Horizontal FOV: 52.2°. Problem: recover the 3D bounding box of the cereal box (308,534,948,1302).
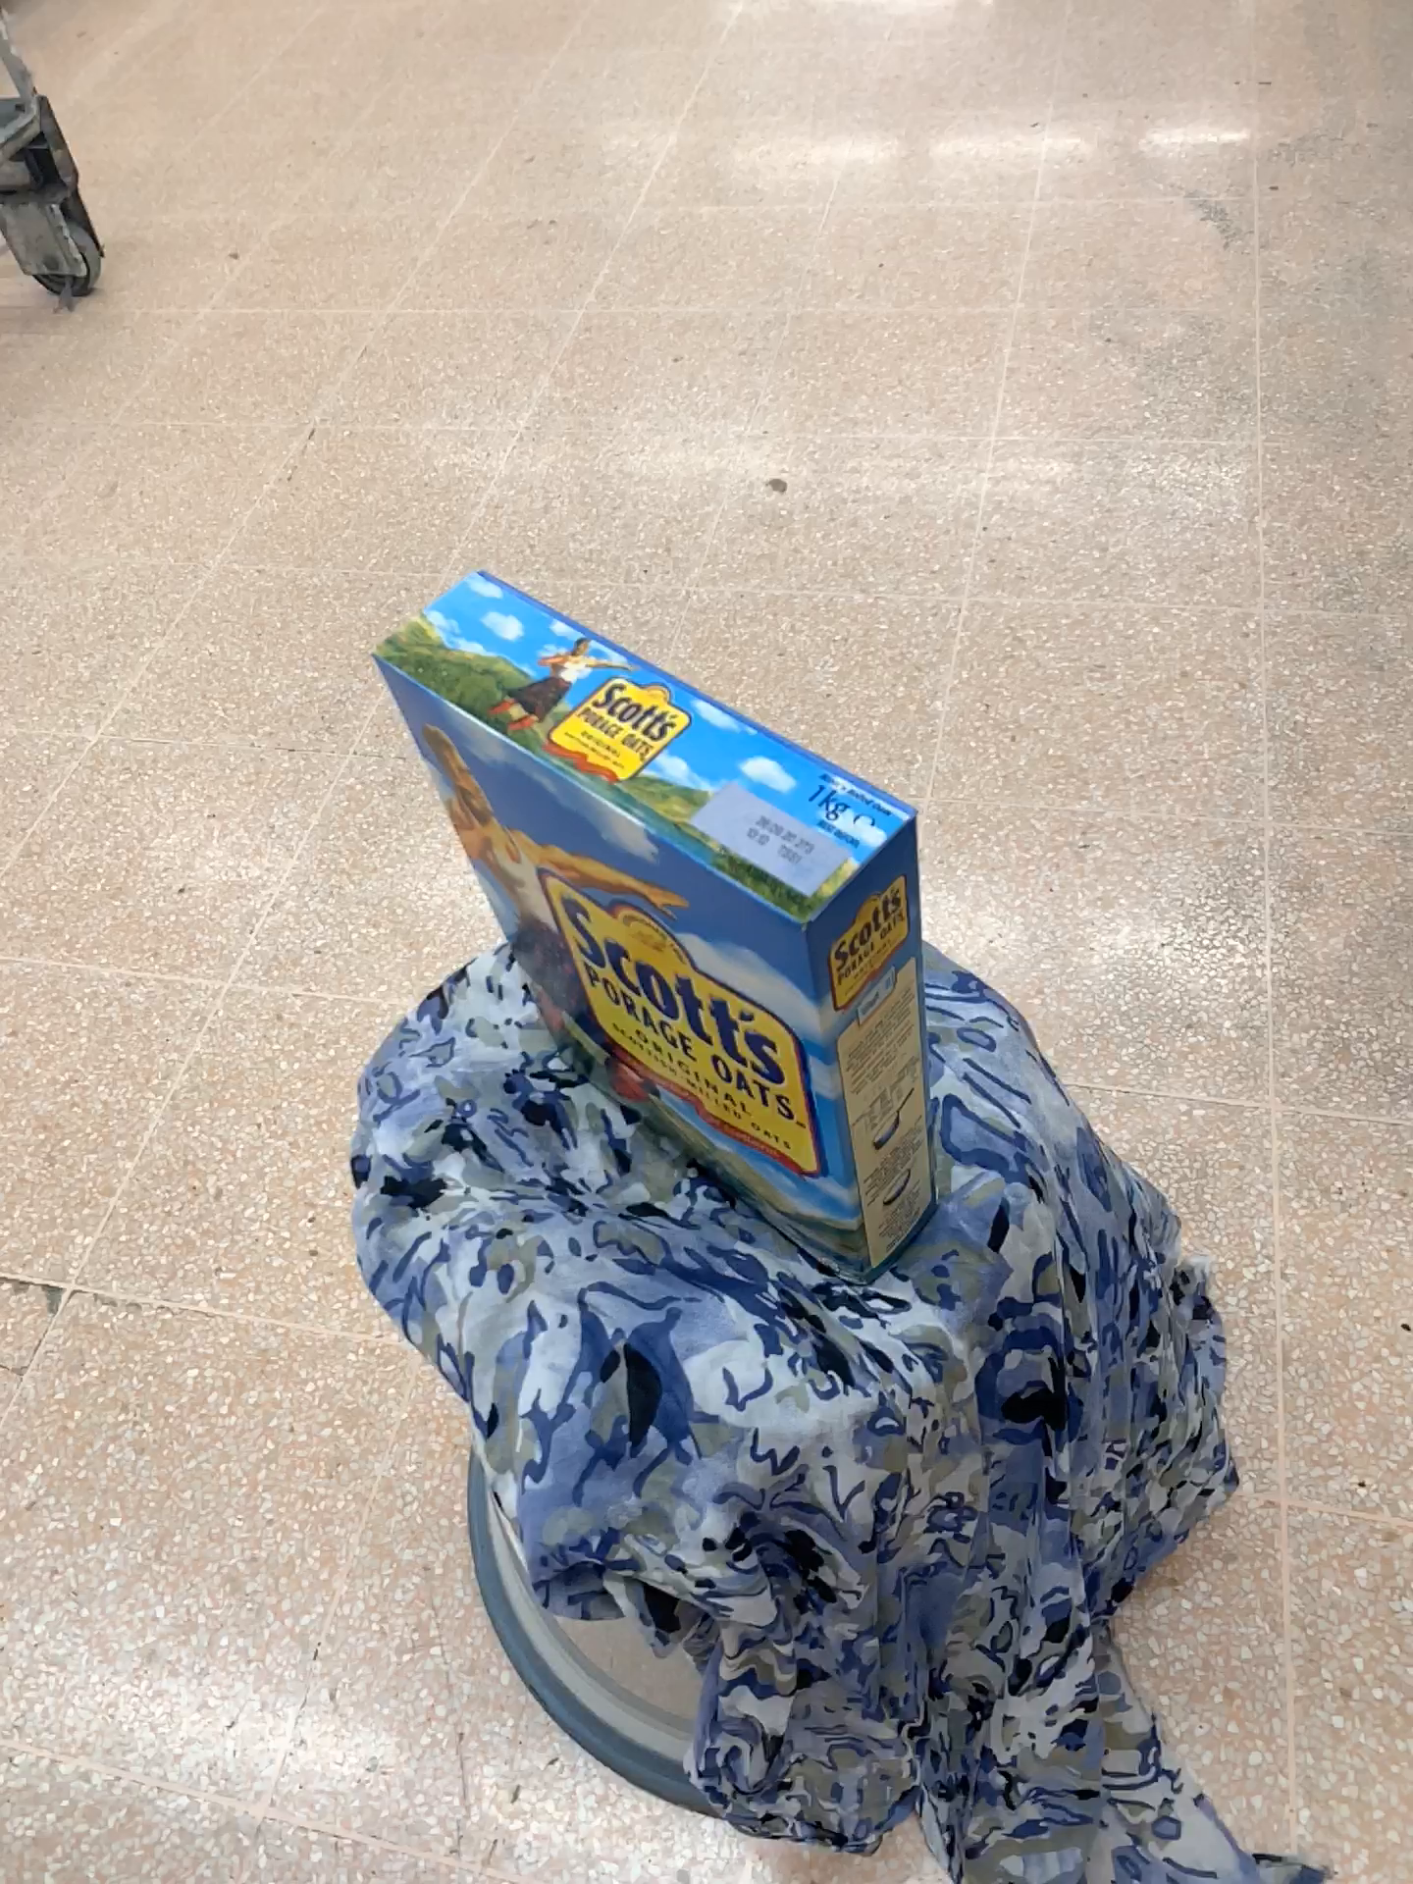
[{"bbox_3d":[-0.016,0.001,0.537,0.211,0.248,0.060,34,67,30],"label":"cereal box"}]
